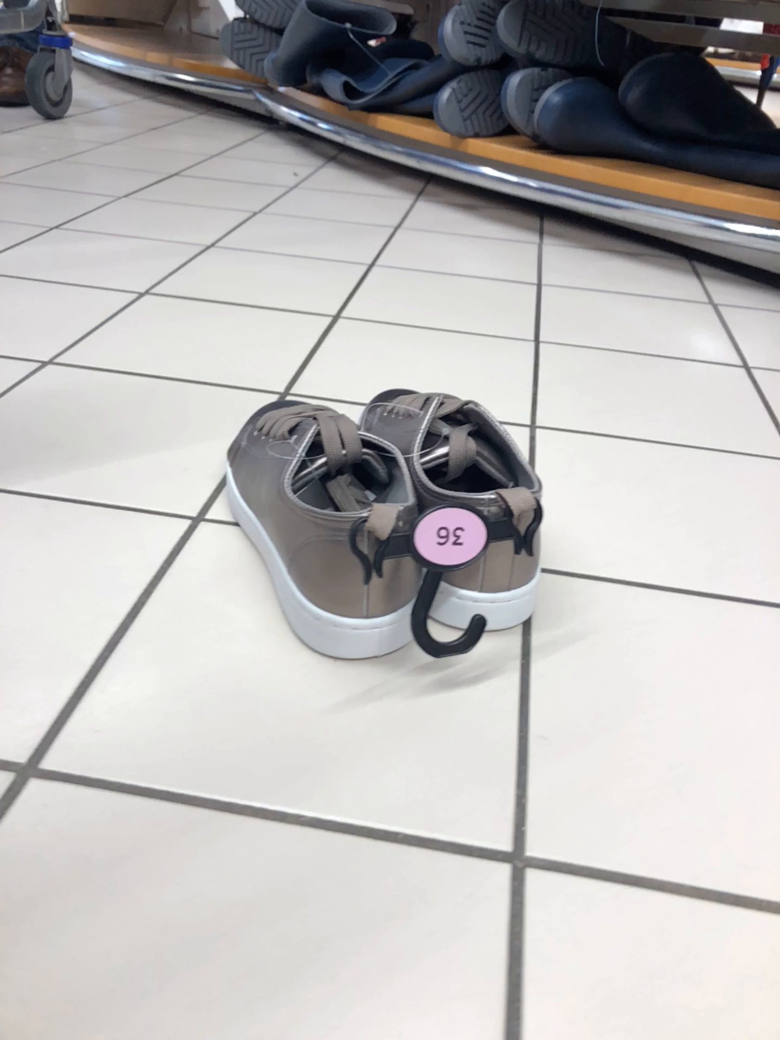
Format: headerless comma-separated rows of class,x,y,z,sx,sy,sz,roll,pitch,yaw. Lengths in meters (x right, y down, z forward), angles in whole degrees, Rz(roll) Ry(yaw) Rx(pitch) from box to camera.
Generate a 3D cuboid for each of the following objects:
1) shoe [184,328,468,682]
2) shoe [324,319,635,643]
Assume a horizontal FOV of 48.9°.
shoe,-0.051,-0.027,0.484,0.090,0.080,0.241,-7,34,-19
shoe,0.035,-0.040,0.514,0.090,0.080,0.241,-6,33,-17
